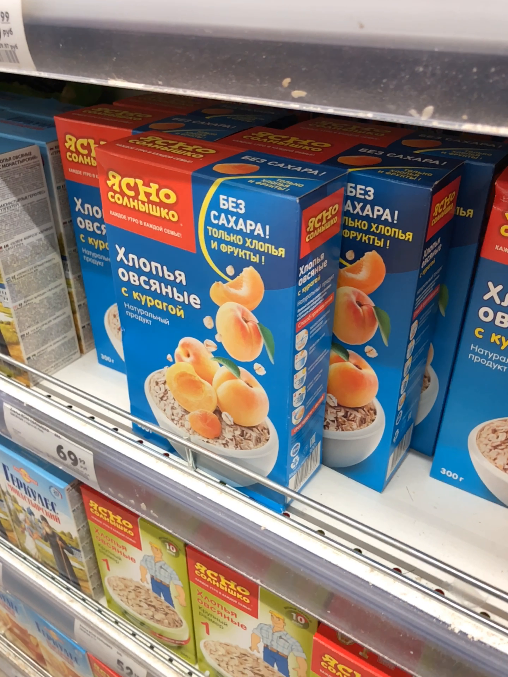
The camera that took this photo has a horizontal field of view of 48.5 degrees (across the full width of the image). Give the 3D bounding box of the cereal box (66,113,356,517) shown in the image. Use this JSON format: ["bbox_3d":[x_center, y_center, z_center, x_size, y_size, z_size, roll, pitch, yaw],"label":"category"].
[{"bbox_3d":[-0.027,-0.014,0.343,0.150,0.209,0.050,21,38,30],"label":"cereal box"}]
